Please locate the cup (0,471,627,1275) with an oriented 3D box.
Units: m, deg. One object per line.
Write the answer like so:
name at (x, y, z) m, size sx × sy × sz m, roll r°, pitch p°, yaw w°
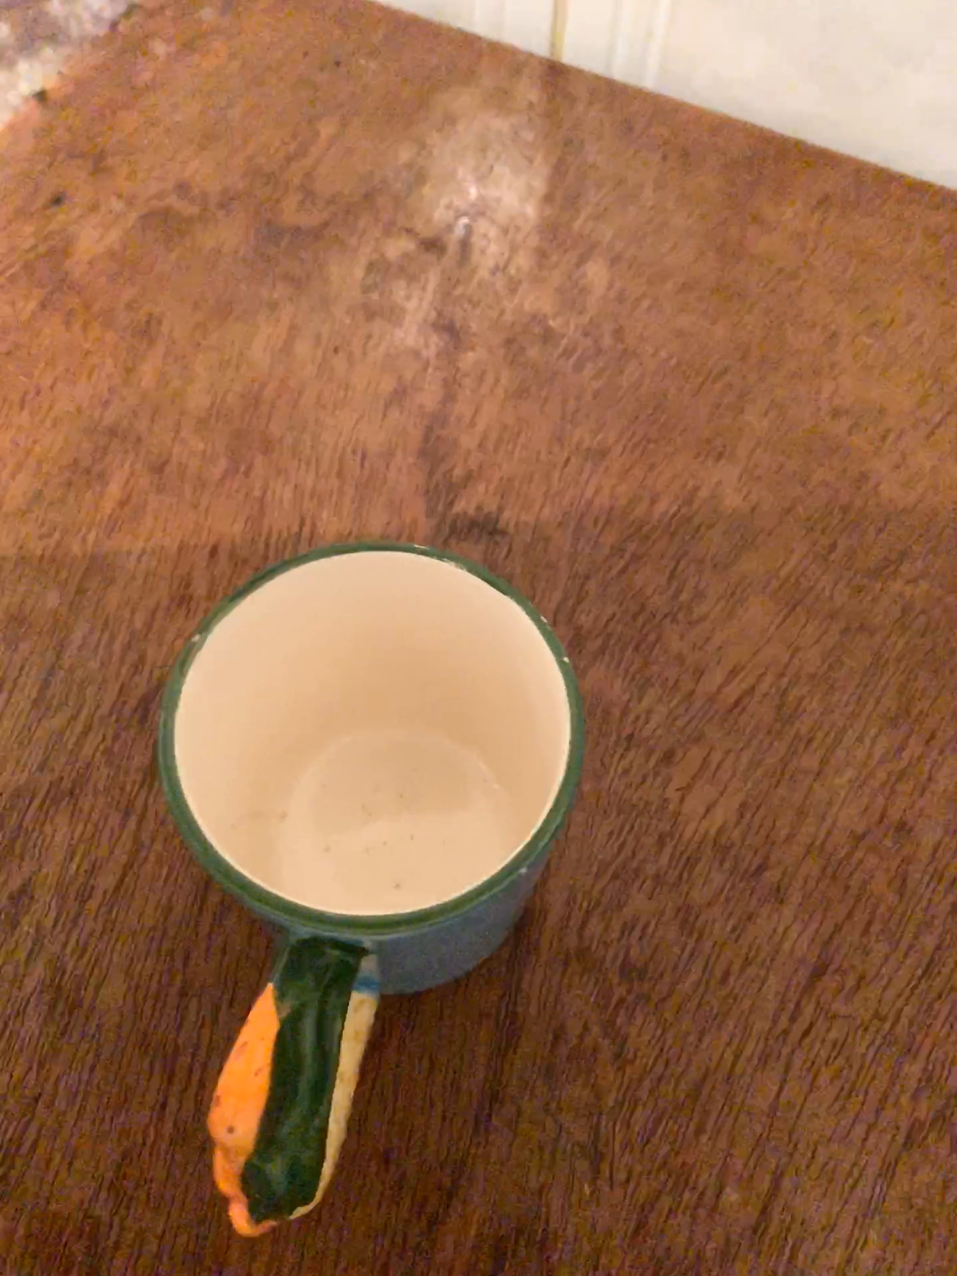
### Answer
cup at (-0.025, 0.053, 0.216) m, size 0.080 × 0.100 × 0.130 m, roll 11°, pitch 63°, yaw 4°
